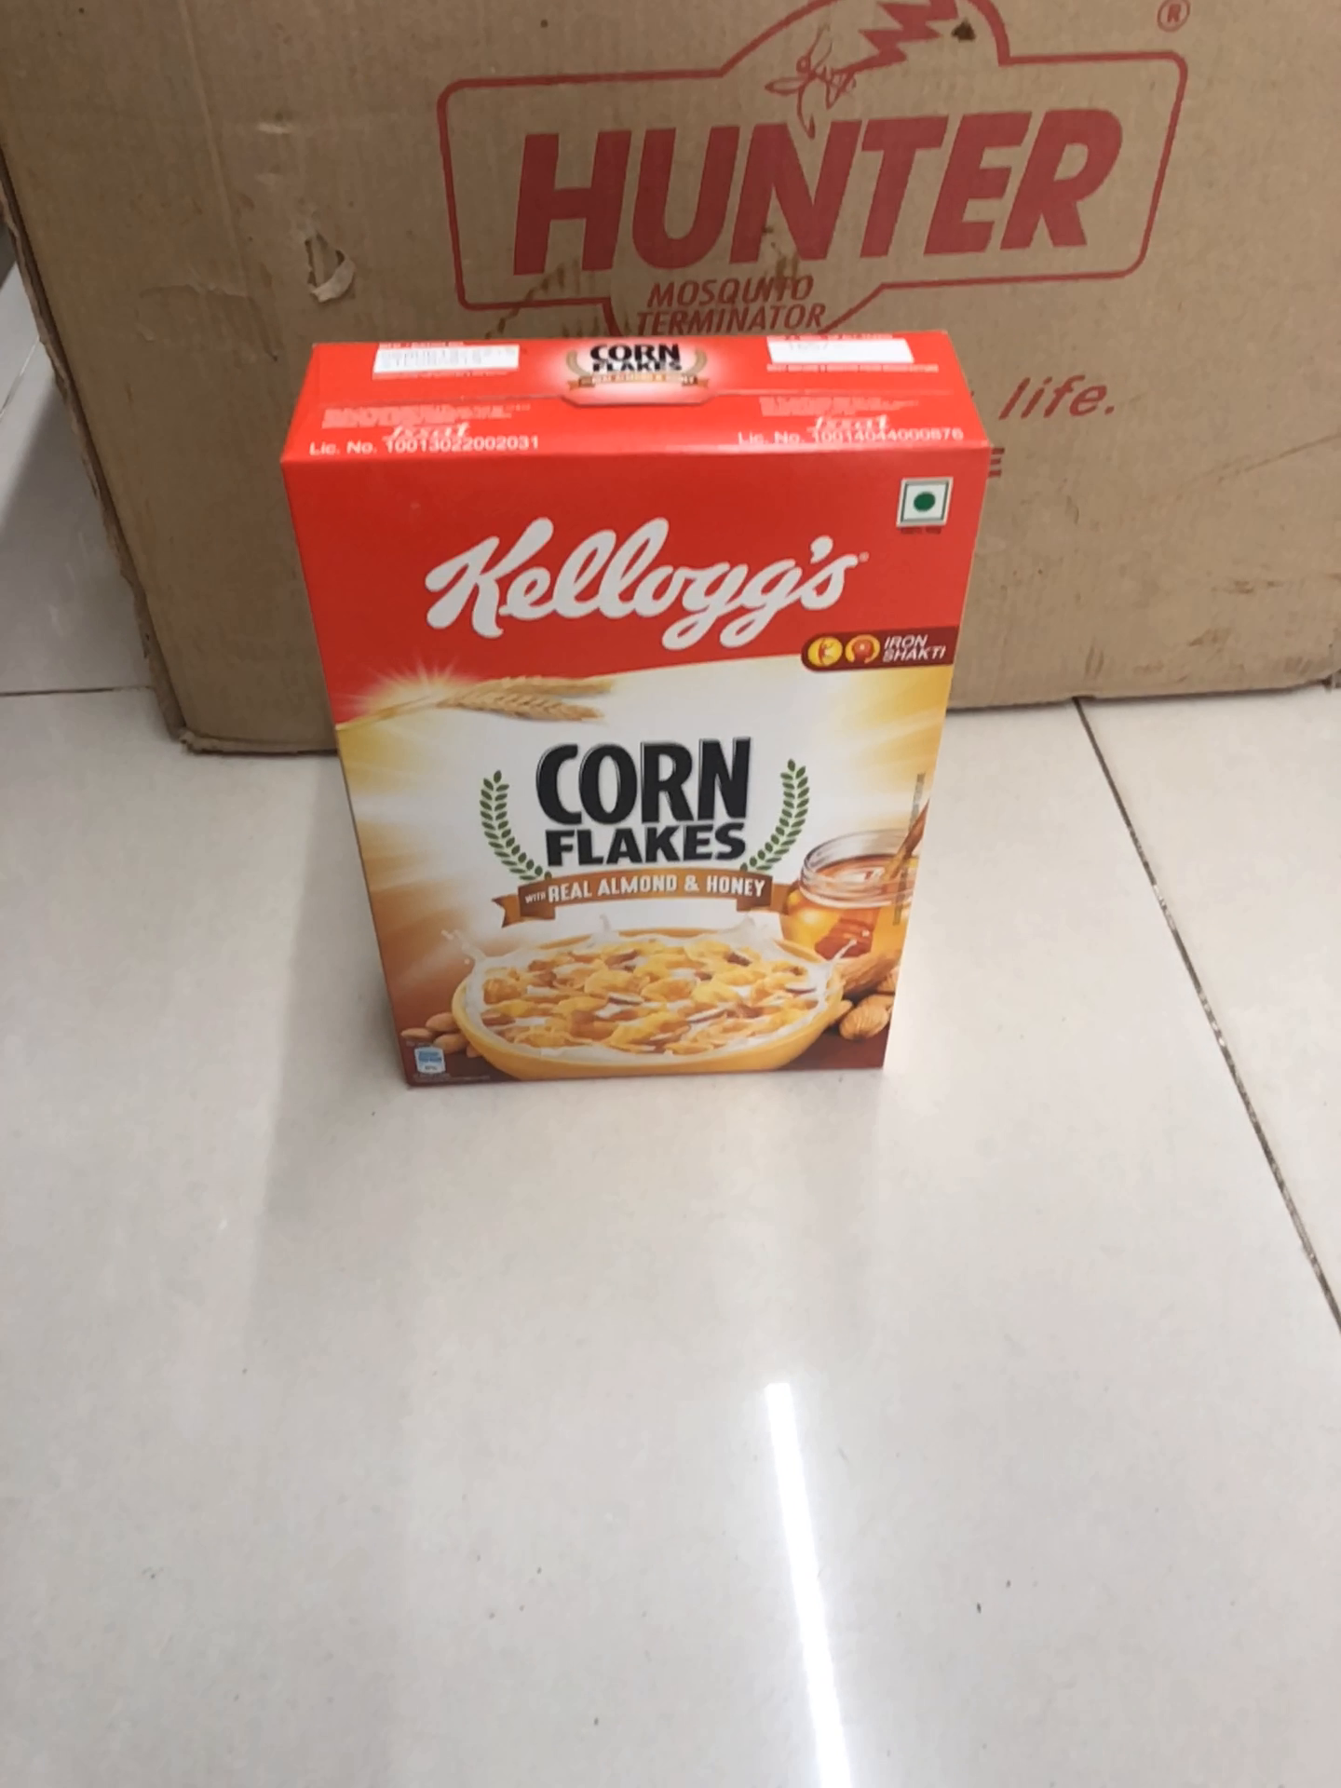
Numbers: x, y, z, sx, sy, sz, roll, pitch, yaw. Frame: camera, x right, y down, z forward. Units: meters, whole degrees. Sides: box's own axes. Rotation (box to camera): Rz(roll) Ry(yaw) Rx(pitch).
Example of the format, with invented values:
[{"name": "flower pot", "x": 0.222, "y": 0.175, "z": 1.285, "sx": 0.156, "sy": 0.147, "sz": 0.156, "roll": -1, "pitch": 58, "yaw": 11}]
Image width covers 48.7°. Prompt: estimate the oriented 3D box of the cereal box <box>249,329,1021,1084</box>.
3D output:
[{"name": "cereal box", "x": -0.011, "y": -0.047, "z": 0.501, "sx": 0.200, "sy": 0.259, "sz": 0.070, "roll": -2, "pitch": 46, "yaw": -2}]
